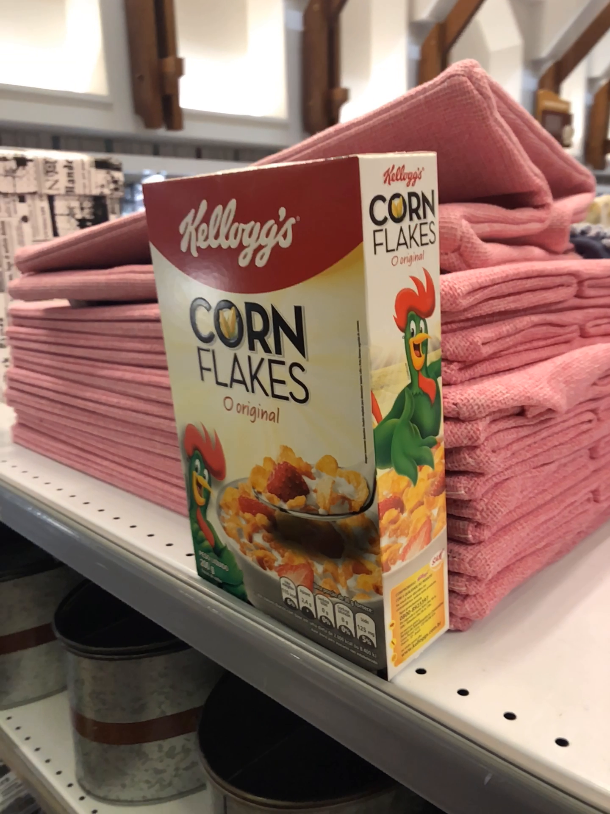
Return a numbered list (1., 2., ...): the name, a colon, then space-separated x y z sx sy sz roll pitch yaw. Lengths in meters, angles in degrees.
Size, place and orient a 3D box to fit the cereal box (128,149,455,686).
1. cereal box: -0.010 -0.002 0.394 0.060 0.259 0.180 -20 22 -41
